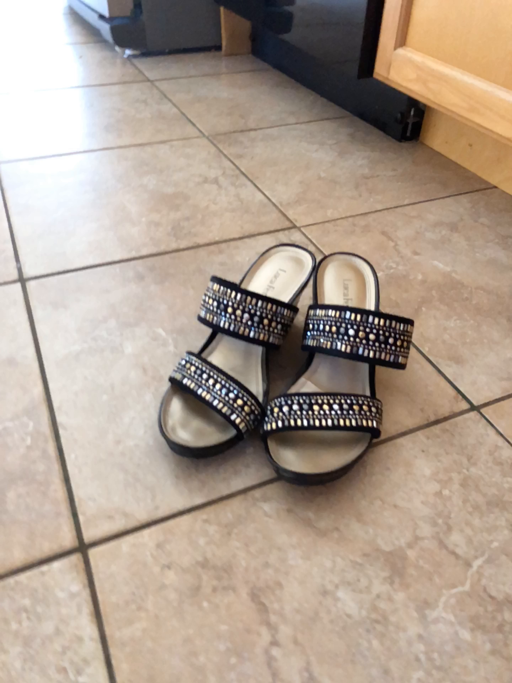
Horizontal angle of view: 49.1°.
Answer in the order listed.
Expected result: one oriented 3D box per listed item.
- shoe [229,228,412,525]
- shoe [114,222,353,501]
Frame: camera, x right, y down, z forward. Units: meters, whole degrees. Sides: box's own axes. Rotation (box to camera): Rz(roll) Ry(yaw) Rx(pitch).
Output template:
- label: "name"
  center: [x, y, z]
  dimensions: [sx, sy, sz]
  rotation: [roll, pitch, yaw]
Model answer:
- label: "shoe"
  center: [0.058, 0.012, 0.449]
  dimensions: [0.110, 0.100, 0.221]
  rotation: [9, 41, 8]
- label: "shoe"
  center: [-0.006, 0.002, 0.468]
  dimensions: [0.090, 0.100, 0.221]
  rotation: [19, 43, 20]
